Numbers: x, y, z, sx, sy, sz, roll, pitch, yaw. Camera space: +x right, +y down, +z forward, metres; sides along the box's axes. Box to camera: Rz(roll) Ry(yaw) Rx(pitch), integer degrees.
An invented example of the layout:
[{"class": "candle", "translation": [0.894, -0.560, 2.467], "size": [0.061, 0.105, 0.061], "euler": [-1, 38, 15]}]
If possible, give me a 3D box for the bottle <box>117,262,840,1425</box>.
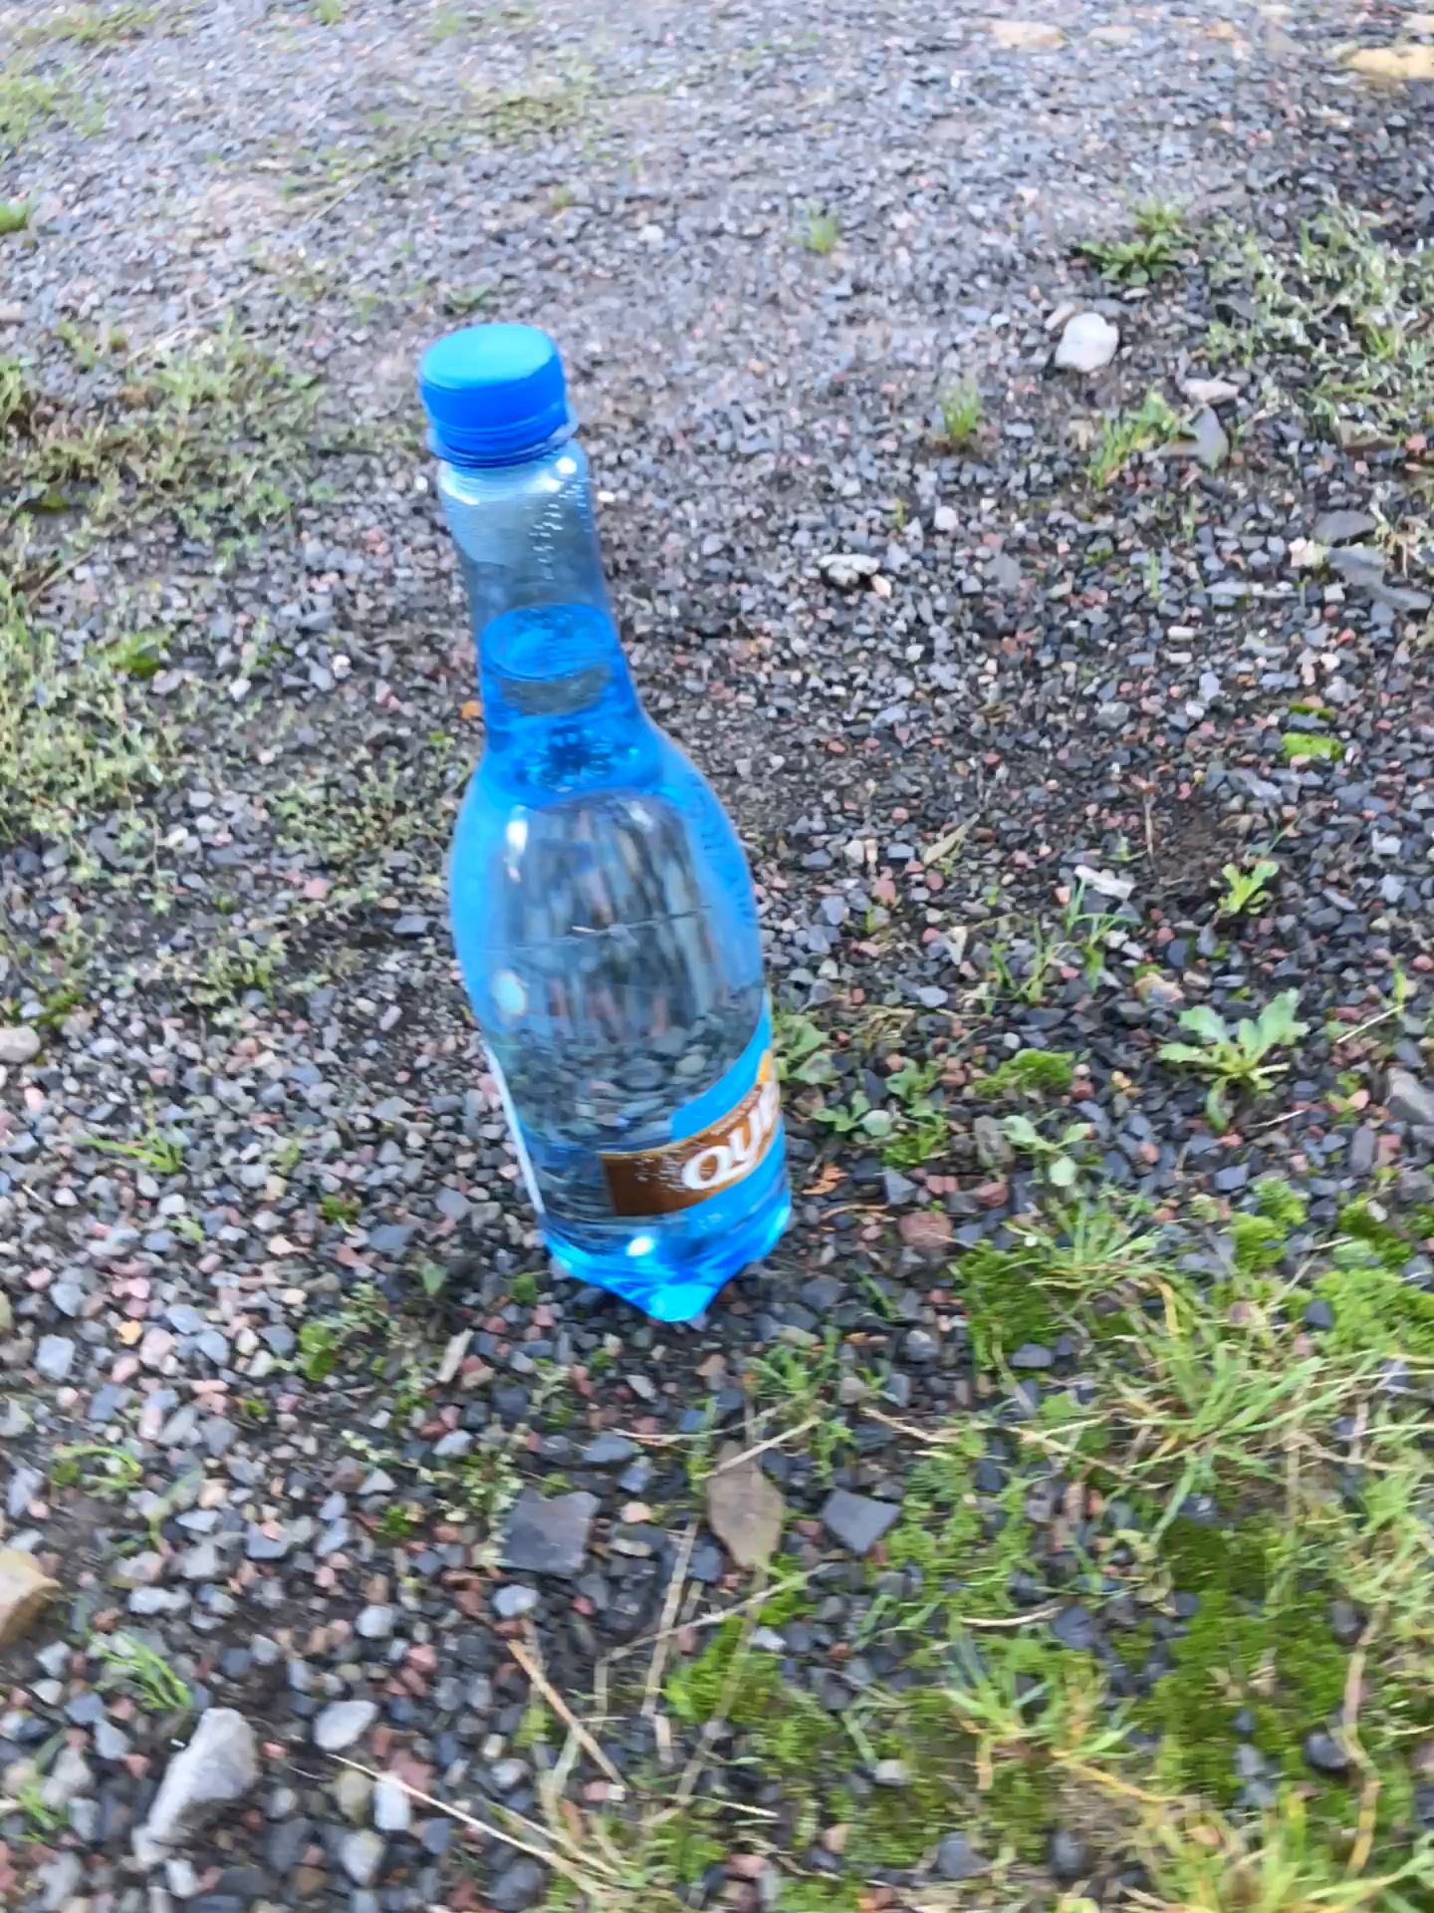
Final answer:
[{"class": "bottle", "translation": [-0.039, -0.011, 0.435], "size": [0.110, 0.298, 0.111], "euler": [-2, 45, 2]}]
